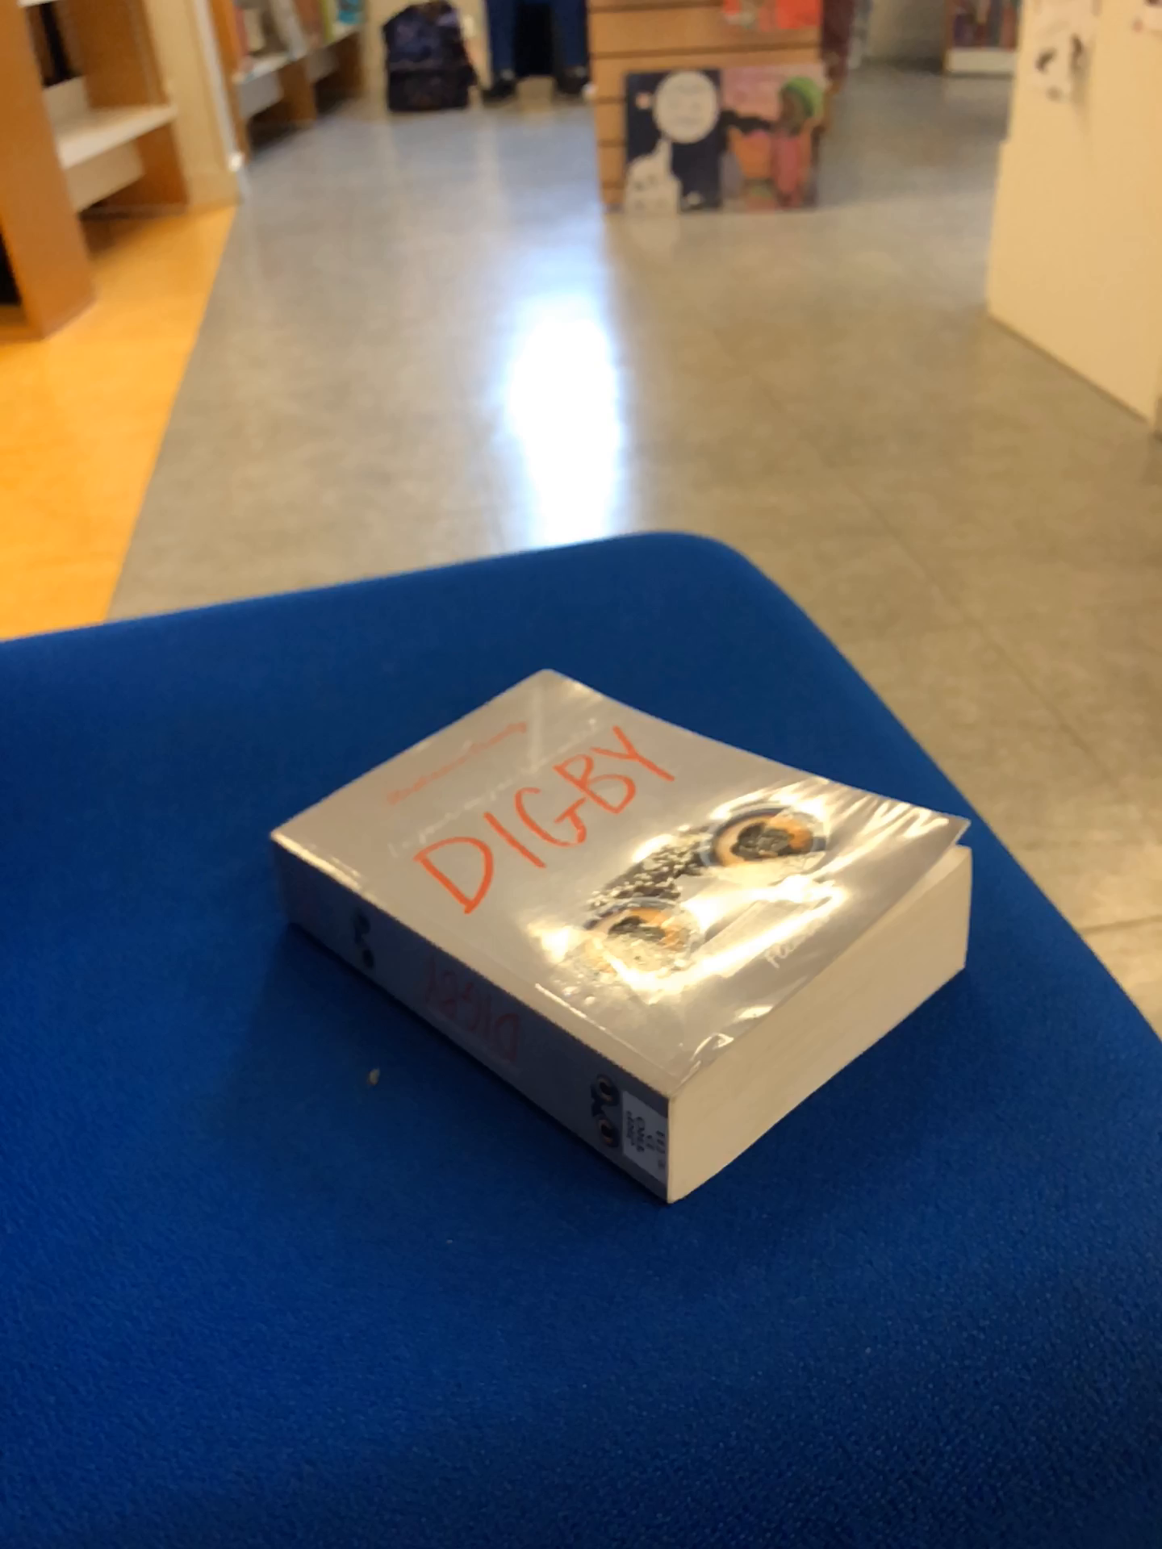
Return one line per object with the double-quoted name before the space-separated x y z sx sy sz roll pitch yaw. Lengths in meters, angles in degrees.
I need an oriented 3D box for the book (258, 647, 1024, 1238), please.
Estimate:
"book" 0.014 0.035 0.442 0.152 0.056 0.211 -30 36 -32
